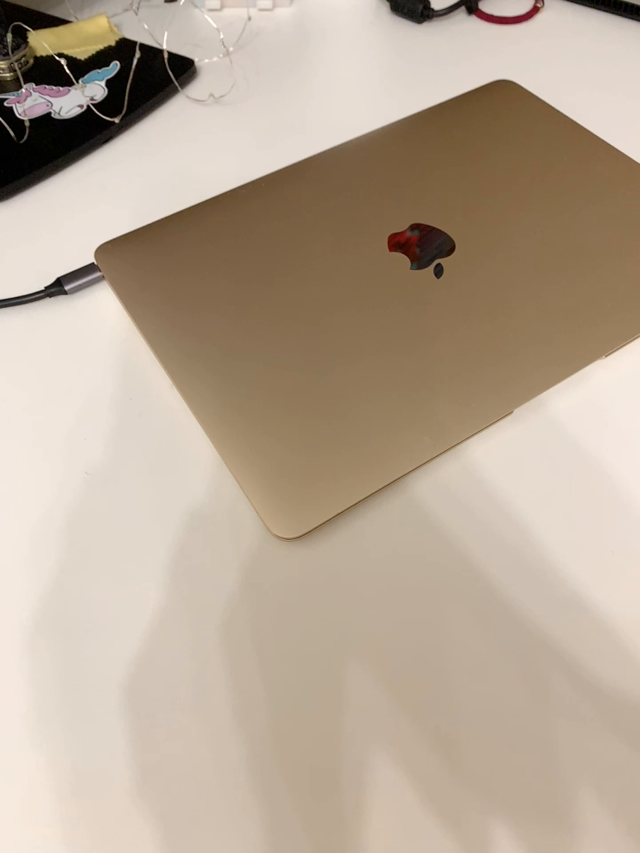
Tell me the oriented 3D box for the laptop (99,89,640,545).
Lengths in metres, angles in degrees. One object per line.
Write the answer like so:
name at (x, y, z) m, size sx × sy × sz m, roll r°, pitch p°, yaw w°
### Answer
laptop at (0.048, -0.079, 0.318) m, size 0.255 × 0.009 × 0.175 m, roll -29°, pitch 60°, yaw -17°
